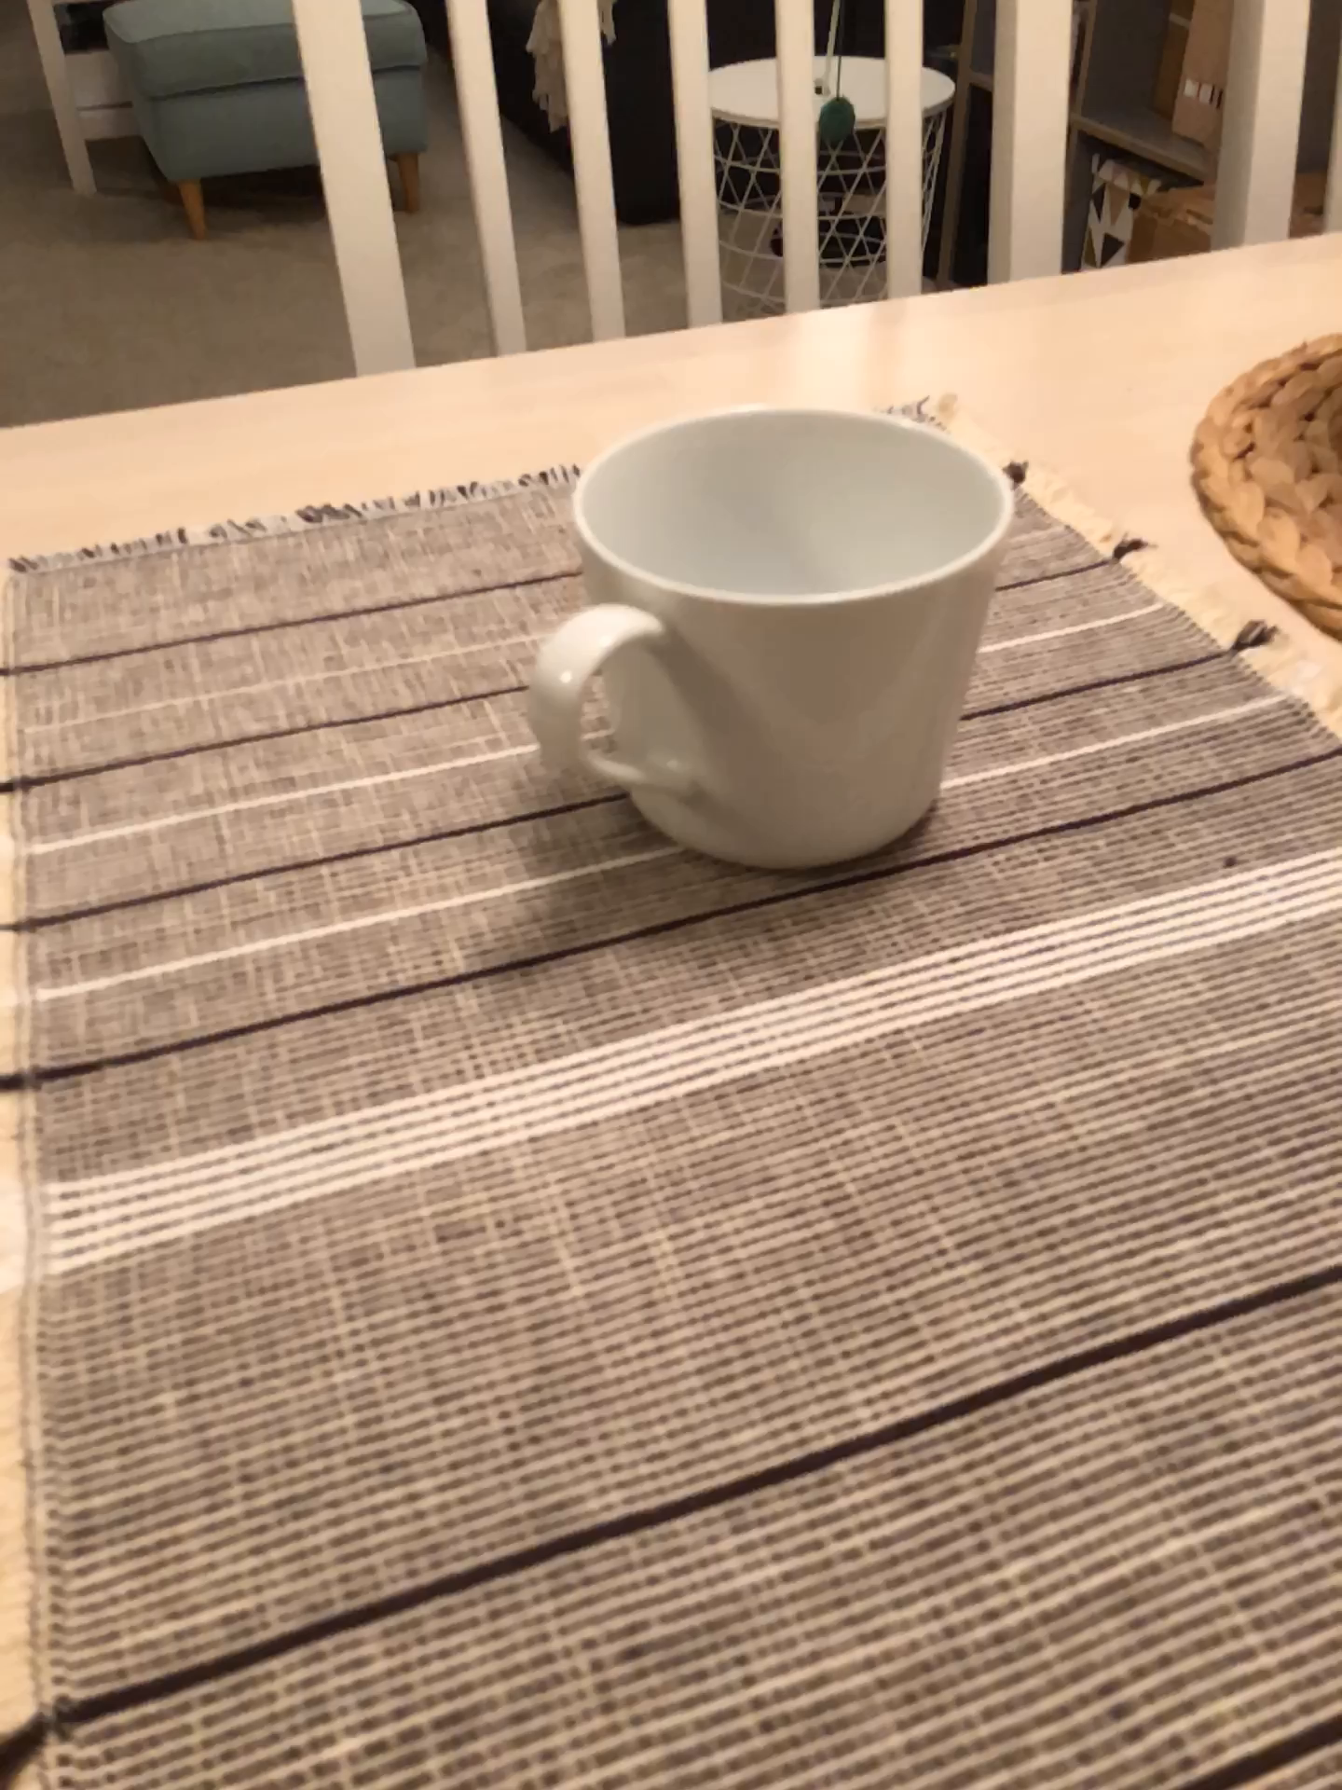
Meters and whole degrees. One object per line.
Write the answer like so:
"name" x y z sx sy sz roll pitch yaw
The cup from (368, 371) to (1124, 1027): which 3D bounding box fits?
"cup" 0.021 -0.056 0.343 0.100 0.070 0.141 29 49 30
